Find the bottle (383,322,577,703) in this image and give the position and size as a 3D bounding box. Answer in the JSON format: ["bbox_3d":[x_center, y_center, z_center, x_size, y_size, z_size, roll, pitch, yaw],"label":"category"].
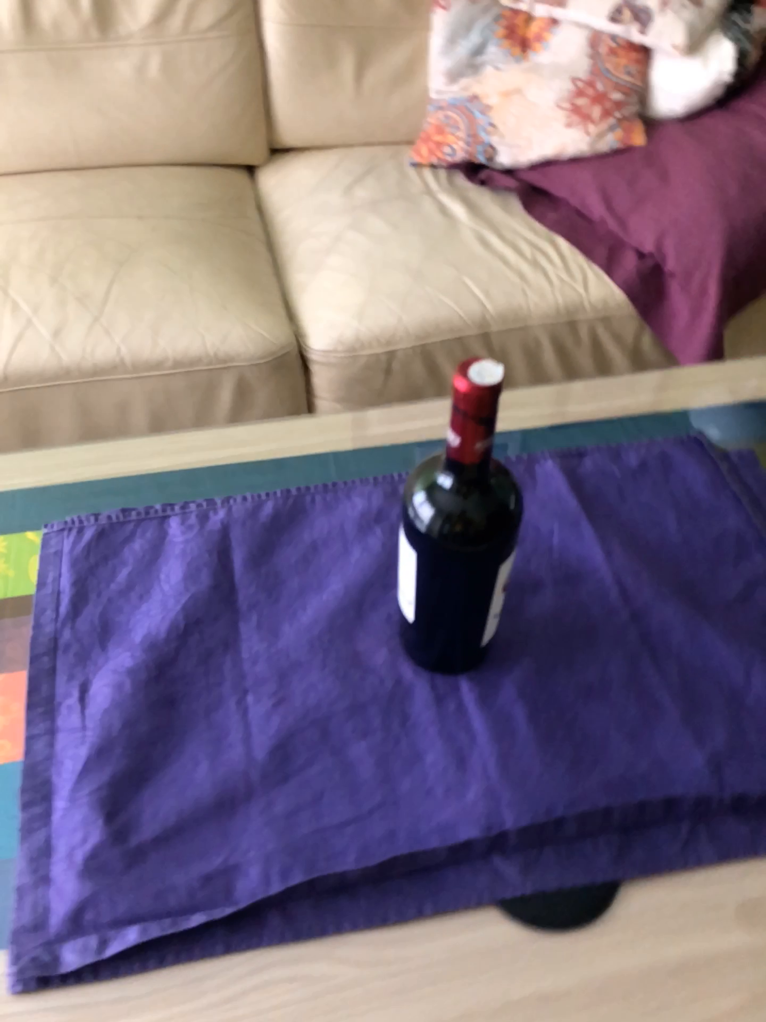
[{"bbox_3d":[0.051,0.017,0.545,0.090,0.269,0.090,1,49,-1],"label":"bottle"}]
